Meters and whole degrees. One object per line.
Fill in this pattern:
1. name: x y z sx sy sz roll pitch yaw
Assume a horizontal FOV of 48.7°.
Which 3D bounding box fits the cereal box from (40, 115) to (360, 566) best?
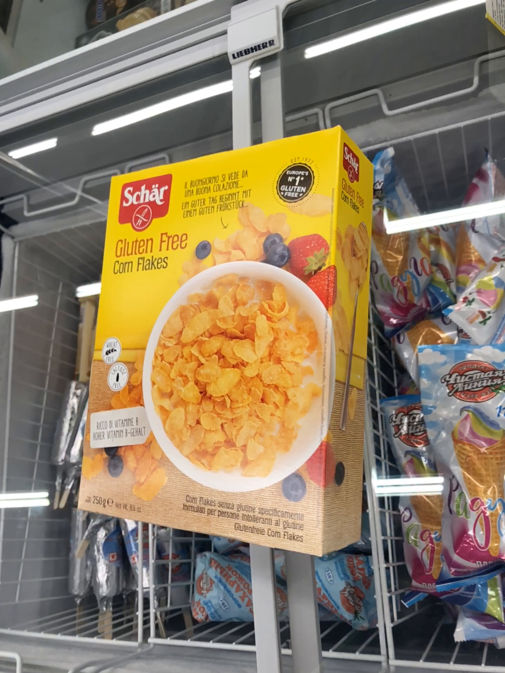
1. cereal box: -0.037 0.002 0.403 0.201 0.080 0.260 -1 80 30
